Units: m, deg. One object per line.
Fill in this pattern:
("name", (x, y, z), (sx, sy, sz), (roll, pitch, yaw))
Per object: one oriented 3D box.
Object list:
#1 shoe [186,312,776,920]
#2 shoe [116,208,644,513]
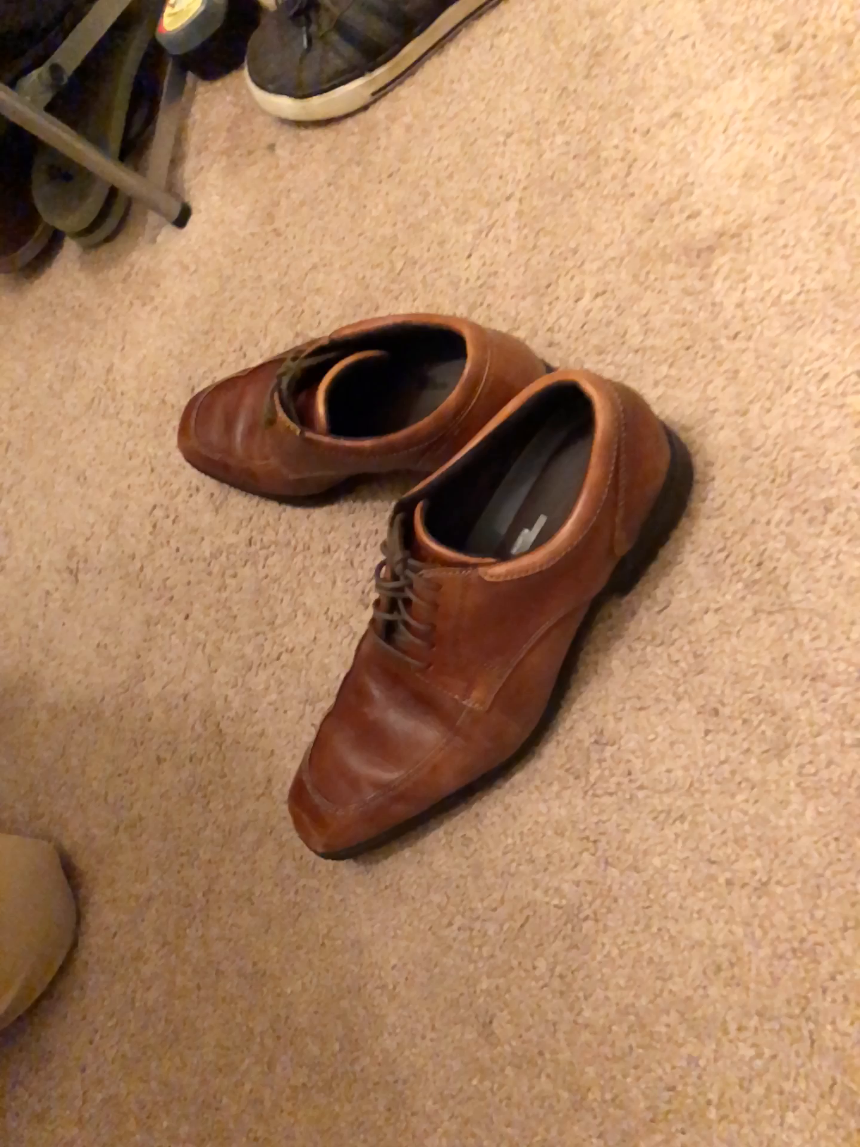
("shoe", (0.022, 0.034, 0.490), (0.300, 0.110, 0.100), (-50, 55, 12))
("shoe", (-0.039, -0.114, 0.590), (0.301, 0.120, 0.120), (3, 78, 35))
